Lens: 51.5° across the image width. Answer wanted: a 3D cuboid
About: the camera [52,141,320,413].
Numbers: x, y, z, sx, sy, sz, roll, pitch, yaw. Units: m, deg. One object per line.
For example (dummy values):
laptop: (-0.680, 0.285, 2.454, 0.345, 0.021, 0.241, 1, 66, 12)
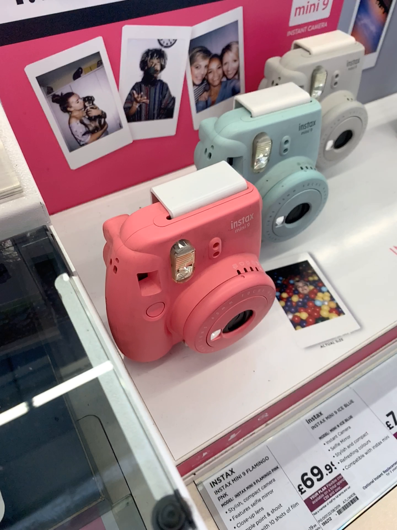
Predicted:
camera: (-0.008, 0.008, 0.266, 0.120, 0.119, 0.081, -24, 54, -20)
